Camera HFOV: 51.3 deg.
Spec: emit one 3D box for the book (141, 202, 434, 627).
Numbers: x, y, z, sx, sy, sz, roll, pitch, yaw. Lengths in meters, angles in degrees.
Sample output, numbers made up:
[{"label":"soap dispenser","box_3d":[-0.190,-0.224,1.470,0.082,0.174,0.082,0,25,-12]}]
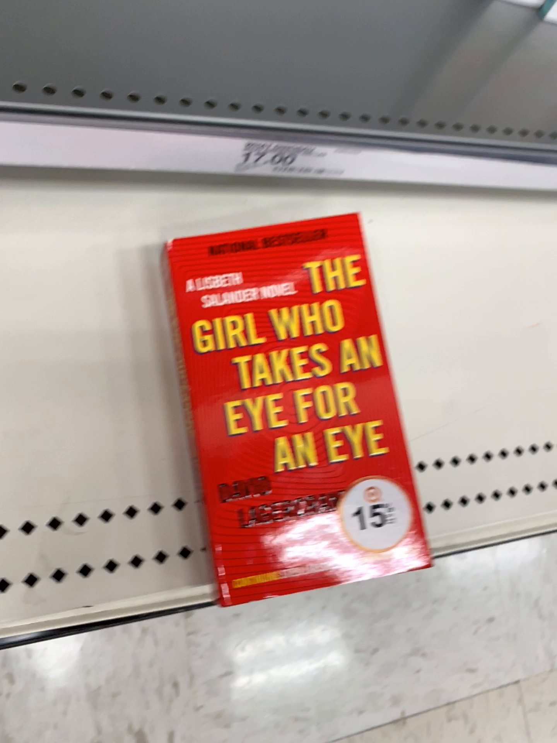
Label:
[{"label":"book","box_3d":[0.000,0.014,0.312,0.115,0.046,0.199,-7,81,-19]}]
